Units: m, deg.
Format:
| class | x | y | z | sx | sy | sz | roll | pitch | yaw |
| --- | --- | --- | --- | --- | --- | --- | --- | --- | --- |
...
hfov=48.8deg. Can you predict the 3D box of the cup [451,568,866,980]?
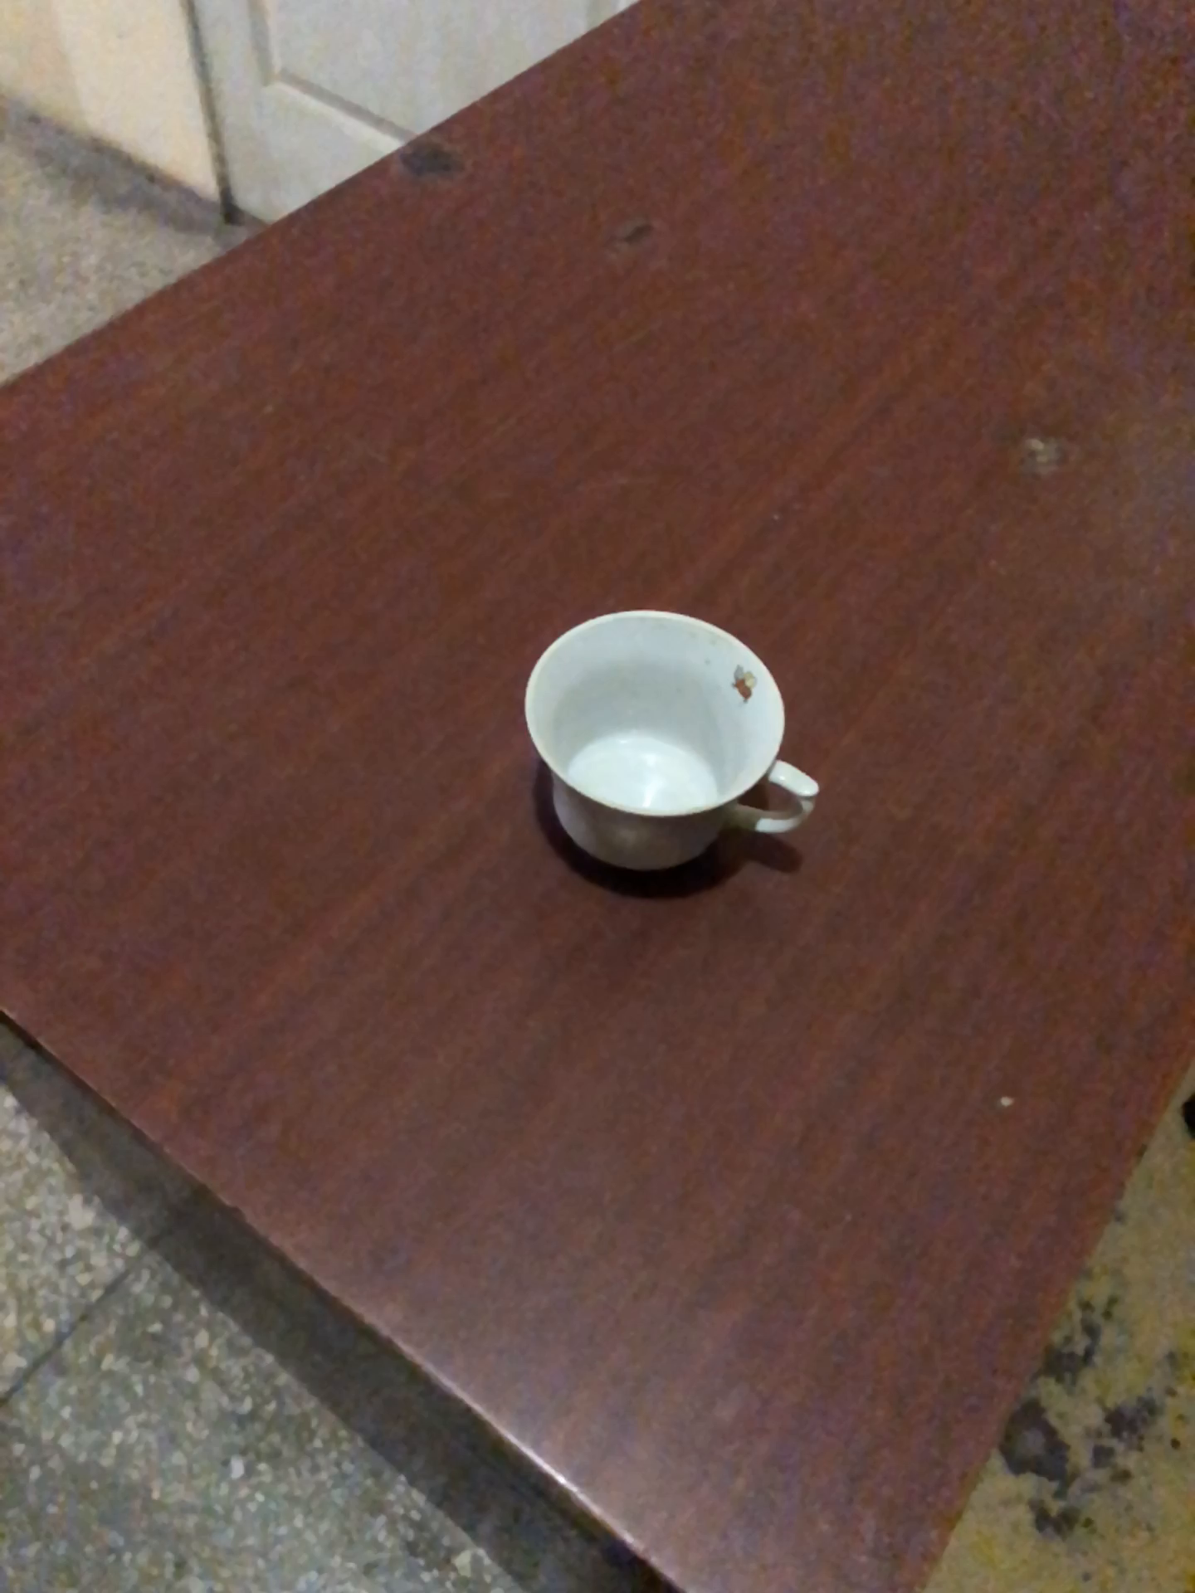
| class | x | y | z | sx | sy | sz | roll | pitch | yaw |
| --- | --- | --- | --- | --- | --- | --- | --- | --- | --- |
| cup | 0.022 | -0.011 | 0.477 | 0.110 | 0.059 | 0.100 | 25 | 57 | 14 |
